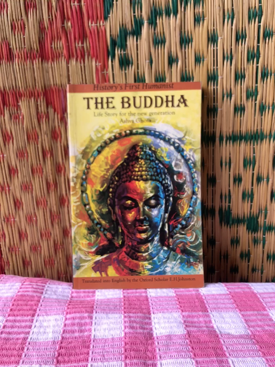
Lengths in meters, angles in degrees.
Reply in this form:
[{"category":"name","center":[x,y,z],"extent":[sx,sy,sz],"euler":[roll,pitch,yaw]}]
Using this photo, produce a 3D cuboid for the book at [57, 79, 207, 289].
[{"category":"book","center":[-0.005,0.001,0.323],"extent":[0.146,0.207,0.030],"euler":[-1,1,1]}]
